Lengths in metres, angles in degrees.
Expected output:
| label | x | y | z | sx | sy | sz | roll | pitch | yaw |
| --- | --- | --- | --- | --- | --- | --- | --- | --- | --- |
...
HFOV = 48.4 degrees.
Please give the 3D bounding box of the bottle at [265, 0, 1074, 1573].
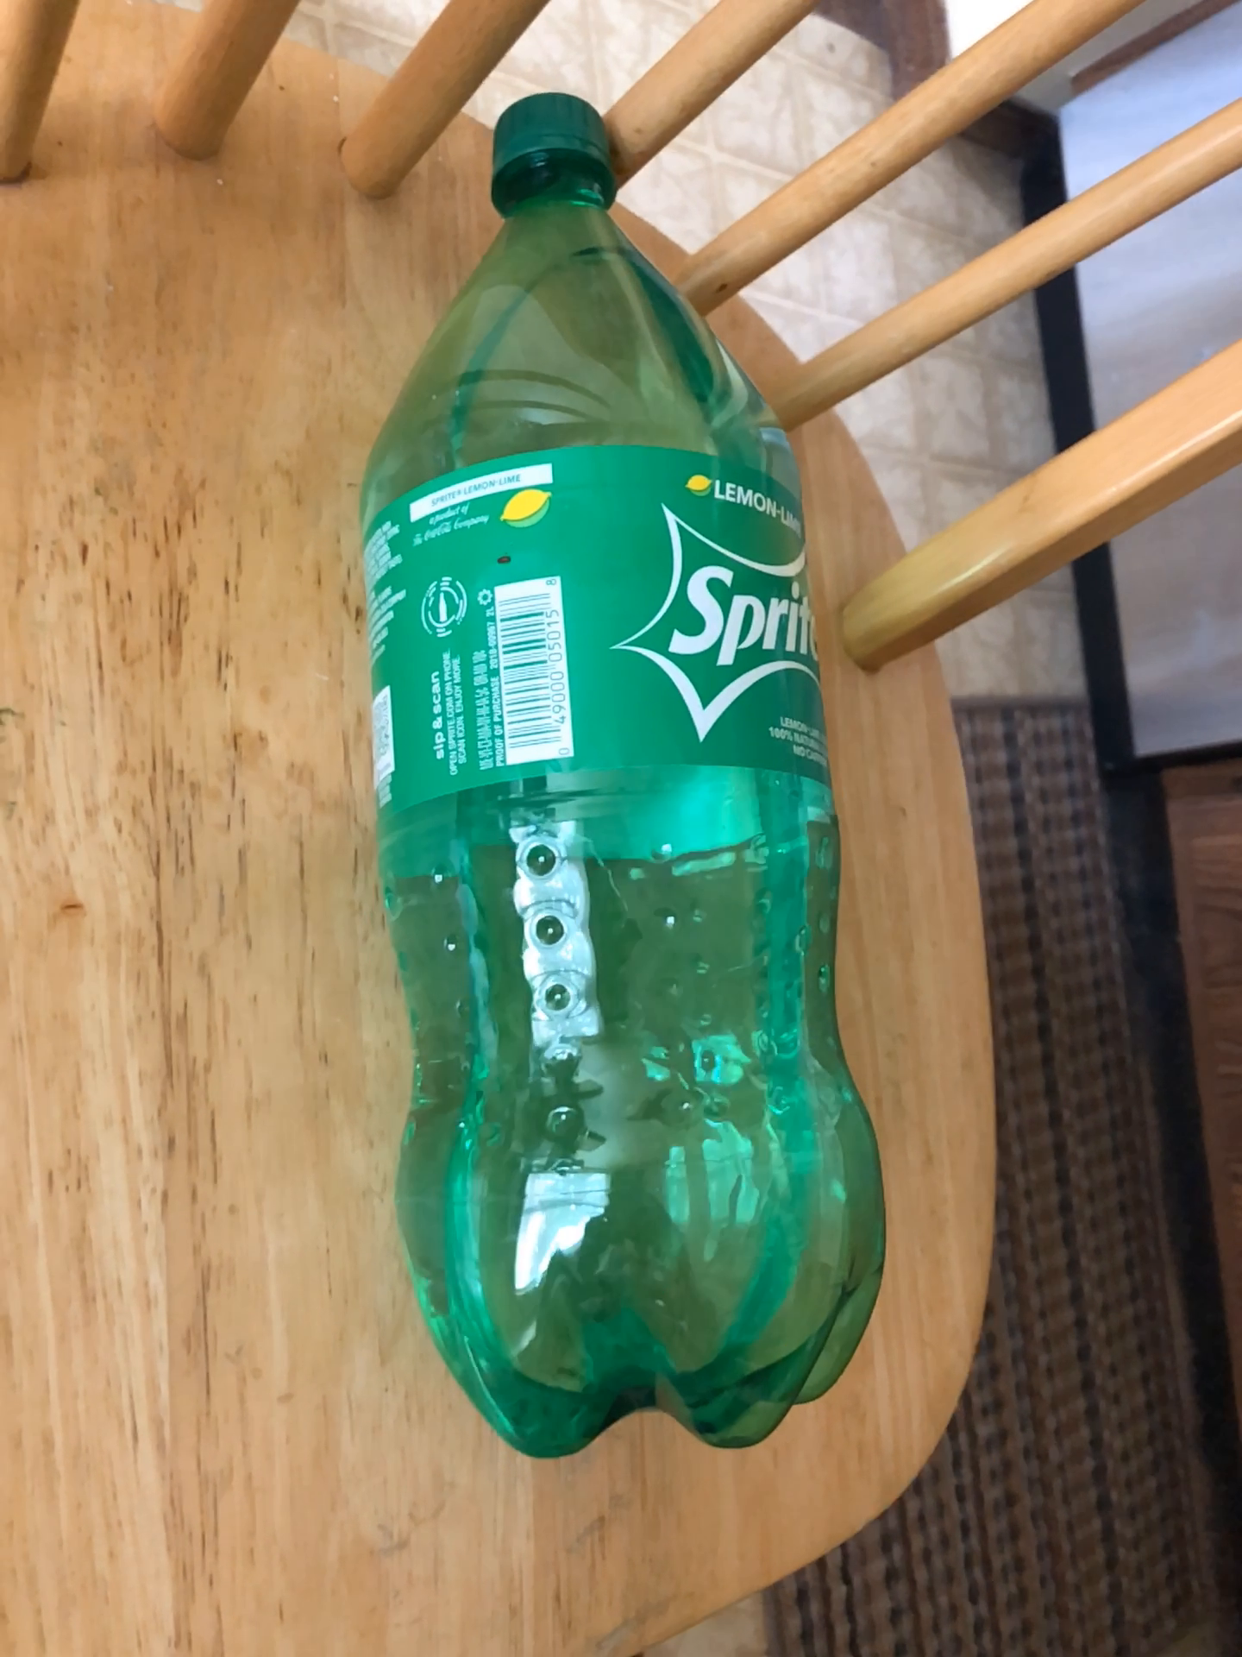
| label | x | y | z | sx | sy | sz | roll | pitch | yaw |
| --- | --- | --- | --- | --- | --- | --- | --- | --- | --- |
| bottle | 0.006 | -0.024 | 0.305 | 0.111 | 0.110 | 0.300 | 6 | 76 | -50 |
